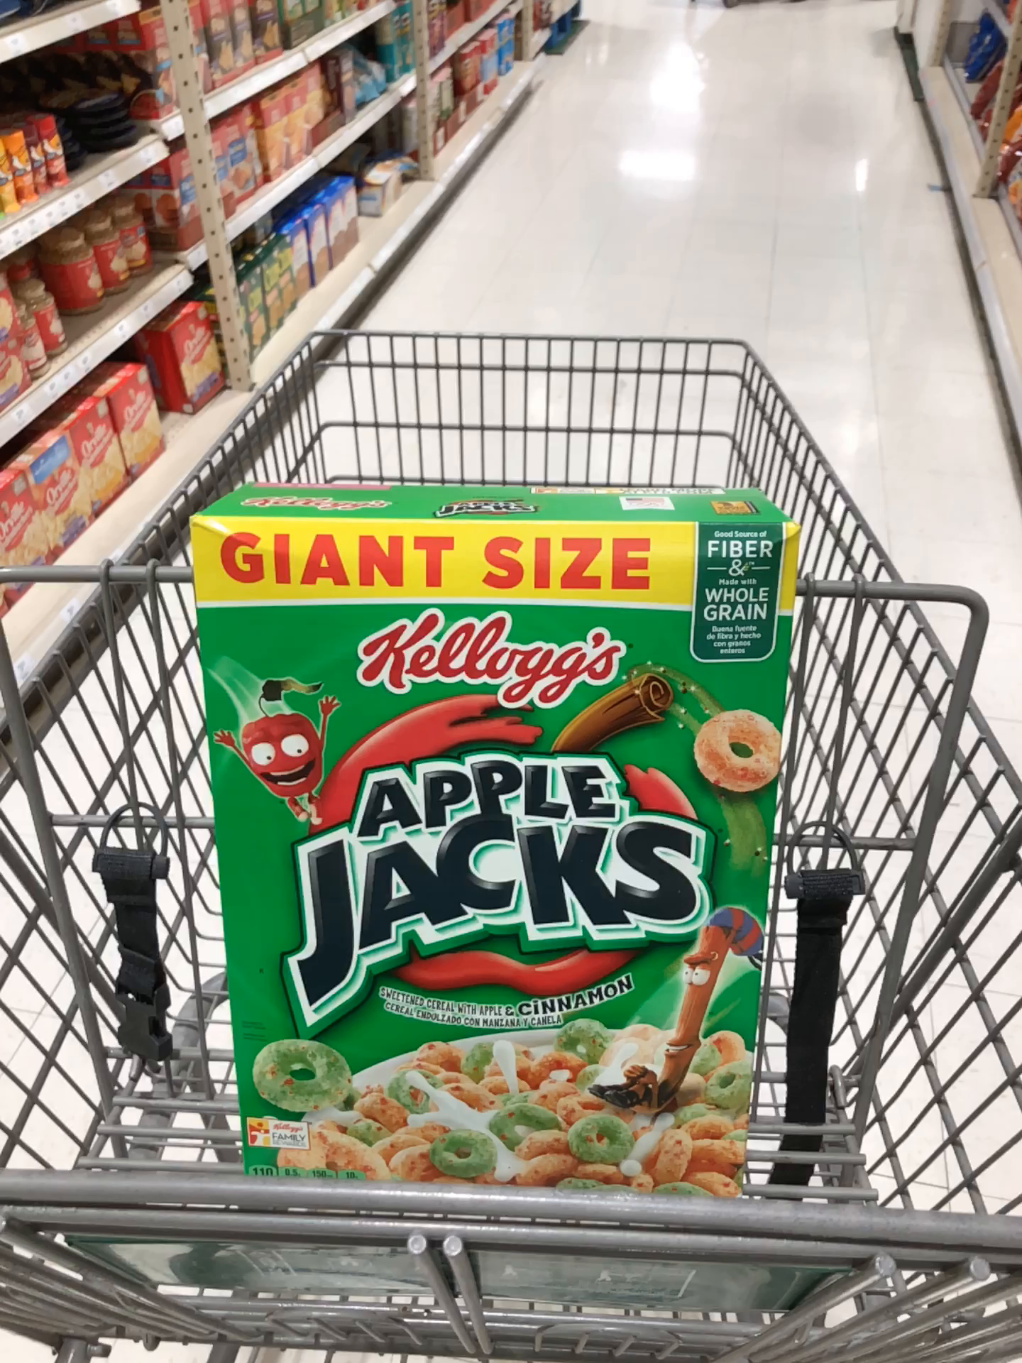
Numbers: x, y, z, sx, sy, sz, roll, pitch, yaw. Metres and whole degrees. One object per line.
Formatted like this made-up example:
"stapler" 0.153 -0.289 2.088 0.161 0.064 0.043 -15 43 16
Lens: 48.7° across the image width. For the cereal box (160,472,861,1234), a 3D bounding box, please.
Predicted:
"cereal box" 0.000 0.076 0.495 0.250 0.320 0.090 1 19 2
